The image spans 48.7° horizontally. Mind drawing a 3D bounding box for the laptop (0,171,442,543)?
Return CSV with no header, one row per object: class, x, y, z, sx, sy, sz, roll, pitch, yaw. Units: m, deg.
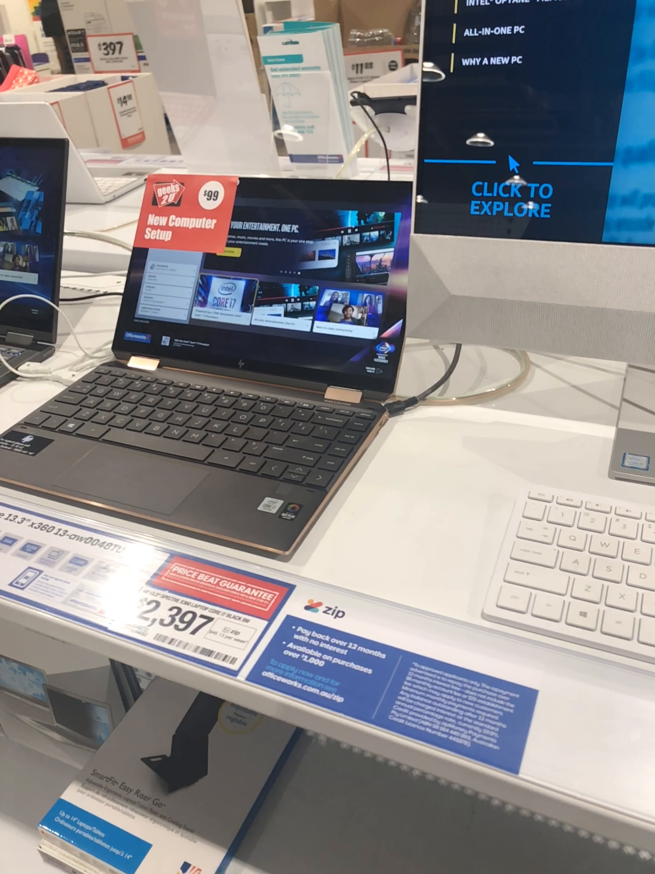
laptop,-0.096,-0.101,0.600,0.298,0.147,0.315,10,37,24
